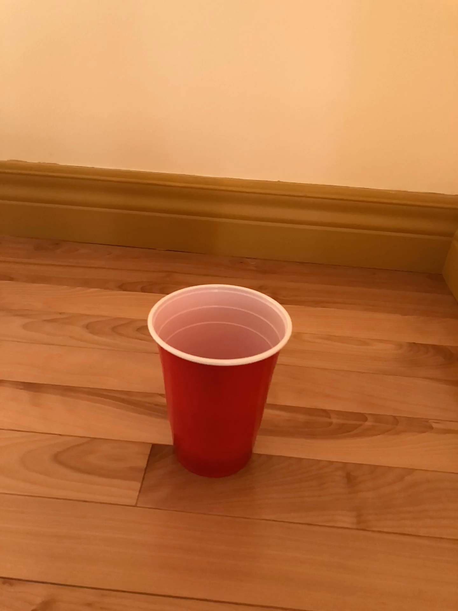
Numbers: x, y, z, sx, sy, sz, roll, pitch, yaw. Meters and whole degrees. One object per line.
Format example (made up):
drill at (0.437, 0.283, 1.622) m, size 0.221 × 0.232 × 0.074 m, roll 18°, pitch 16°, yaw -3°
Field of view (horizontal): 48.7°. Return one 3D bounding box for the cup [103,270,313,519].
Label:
cup at (-0.012, 0.056, 0.357) m, size 0.100 × 0.109 × 0.100 m, roll 2°, pitch 31°, yaw -1°
